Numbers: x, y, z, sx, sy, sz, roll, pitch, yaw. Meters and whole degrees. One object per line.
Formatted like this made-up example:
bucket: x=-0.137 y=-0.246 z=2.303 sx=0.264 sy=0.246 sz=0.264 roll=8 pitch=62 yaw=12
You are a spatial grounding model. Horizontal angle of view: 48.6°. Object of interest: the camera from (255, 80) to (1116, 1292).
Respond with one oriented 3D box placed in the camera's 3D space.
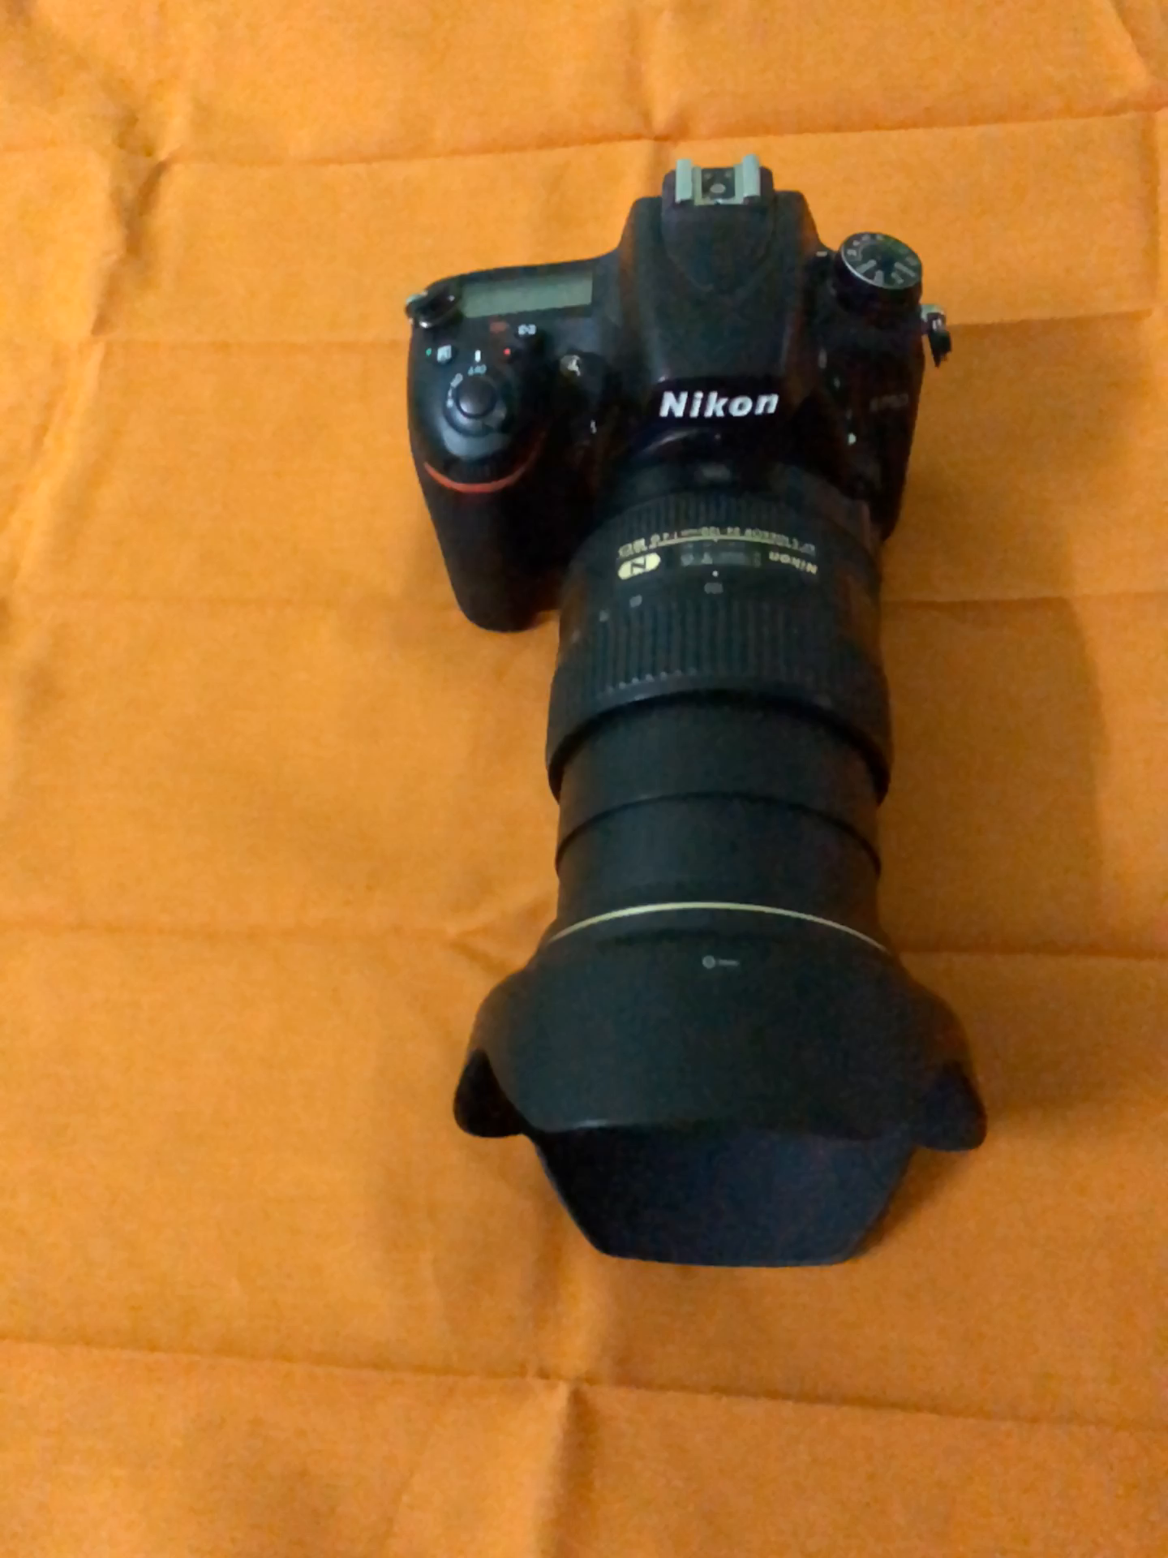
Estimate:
camera: x=0.023 y=-0.026 z=0.313 sx=0.130 sy=0.120 sz=0.264 roll=-1 pitch=61 yaw=6
